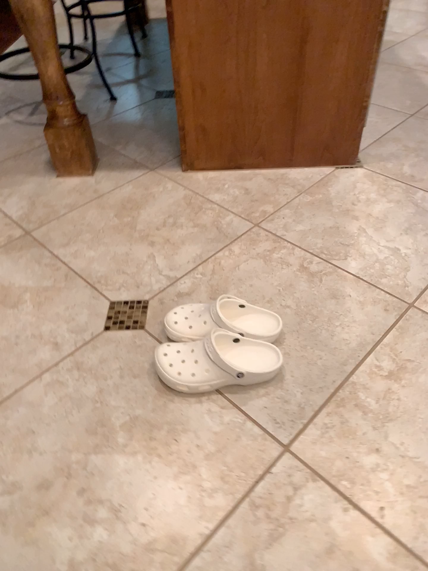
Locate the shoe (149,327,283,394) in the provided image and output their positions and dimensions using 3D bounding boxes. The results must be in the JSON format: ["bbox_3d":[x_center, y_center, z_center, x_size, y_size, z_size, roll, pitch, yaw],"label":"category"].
[{"bbox_3d":[0.006,0.158,0.923,0.261,0.073,0.119,-1,44,3],"label":"shoe"}]

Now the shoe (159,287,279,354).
[{"bbox_3d":[0.017,0.079,1.020,0.261,0.073,0.130,2,44,5],"label":"shoe"}]
